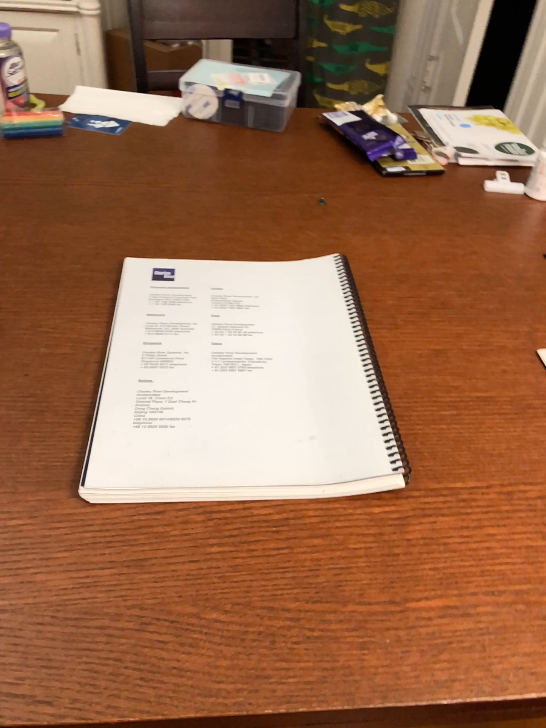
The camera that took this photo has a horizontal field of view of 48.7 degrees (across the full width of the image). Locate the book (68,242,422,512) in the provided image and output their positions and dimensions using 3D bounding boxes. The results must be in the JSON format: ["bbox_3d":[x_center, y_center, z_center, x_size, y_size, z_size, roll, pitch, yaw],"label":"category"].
[{"bbox_3d":[-0.027,-0.013,0.509,0.230,0.020,0.302,0,42,-6],"label":"book"}]
